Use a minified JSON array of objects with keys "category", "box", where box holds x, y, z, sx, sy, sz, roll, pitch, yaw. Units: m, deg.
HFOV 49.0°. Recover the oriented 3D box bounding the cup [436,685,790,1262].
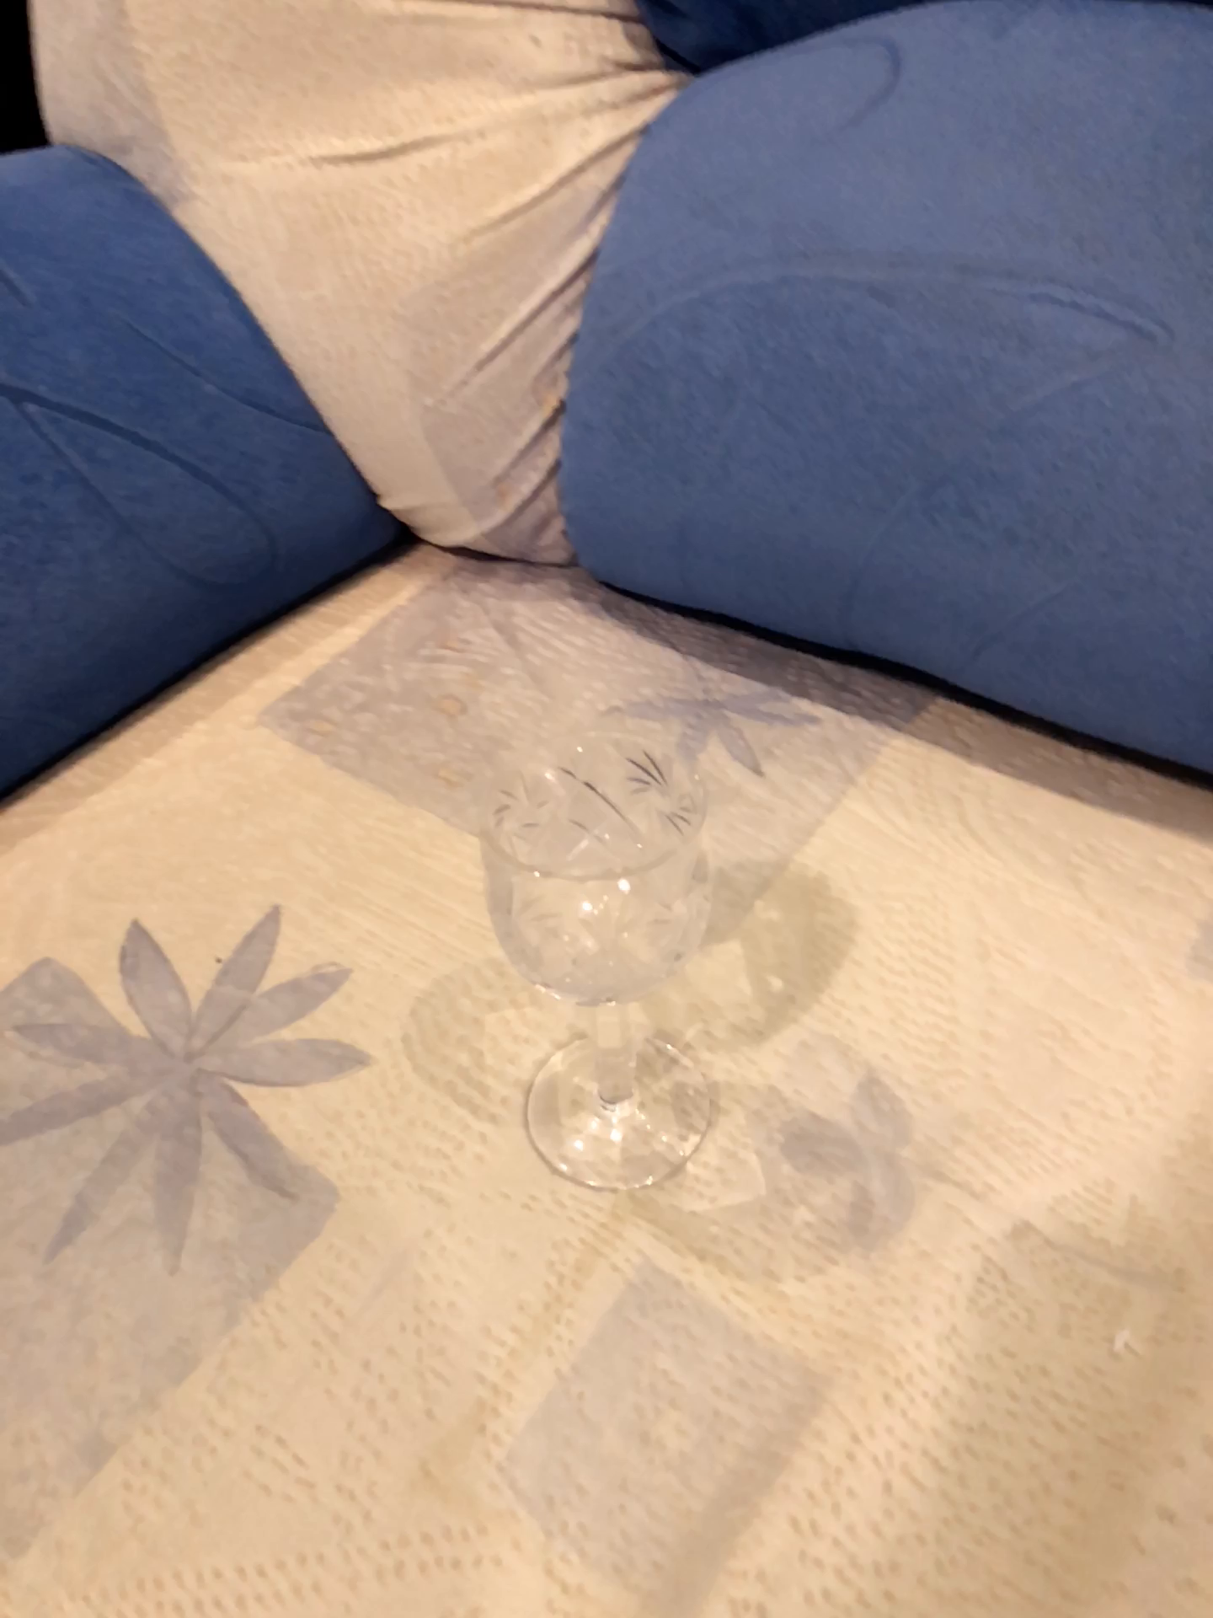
[{"category":"cup","box":[0.004,0.042,0.320,0.060,0.119,0.060,-4,41,3]}]
